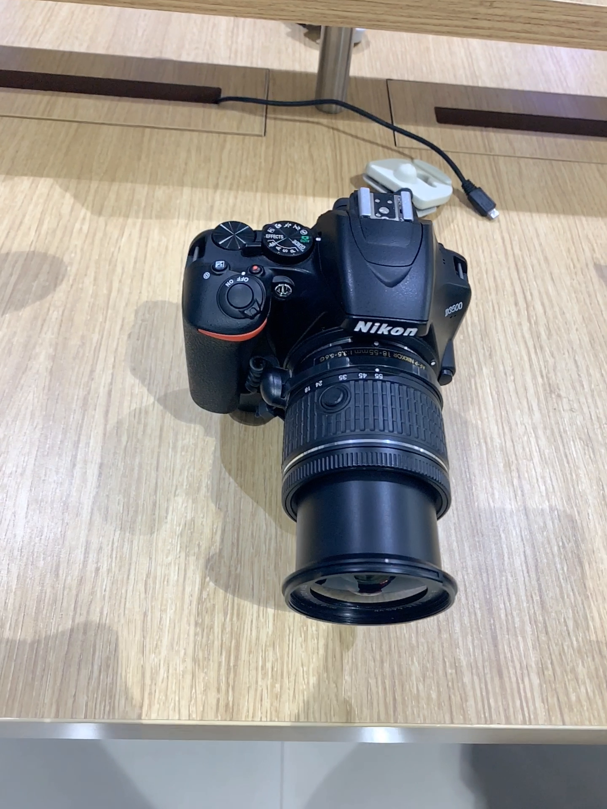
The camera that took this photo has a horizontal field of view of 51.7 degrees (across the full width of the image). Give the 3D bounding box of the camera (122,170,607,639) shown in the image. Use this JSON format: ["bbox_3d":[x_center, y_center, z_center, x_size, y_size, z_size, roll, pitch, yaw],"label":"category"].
[{"bbox_3d":[0.012,0.003,0.221,0.117,0.095,0.131,2,56,-5],"label":"camera"}]
